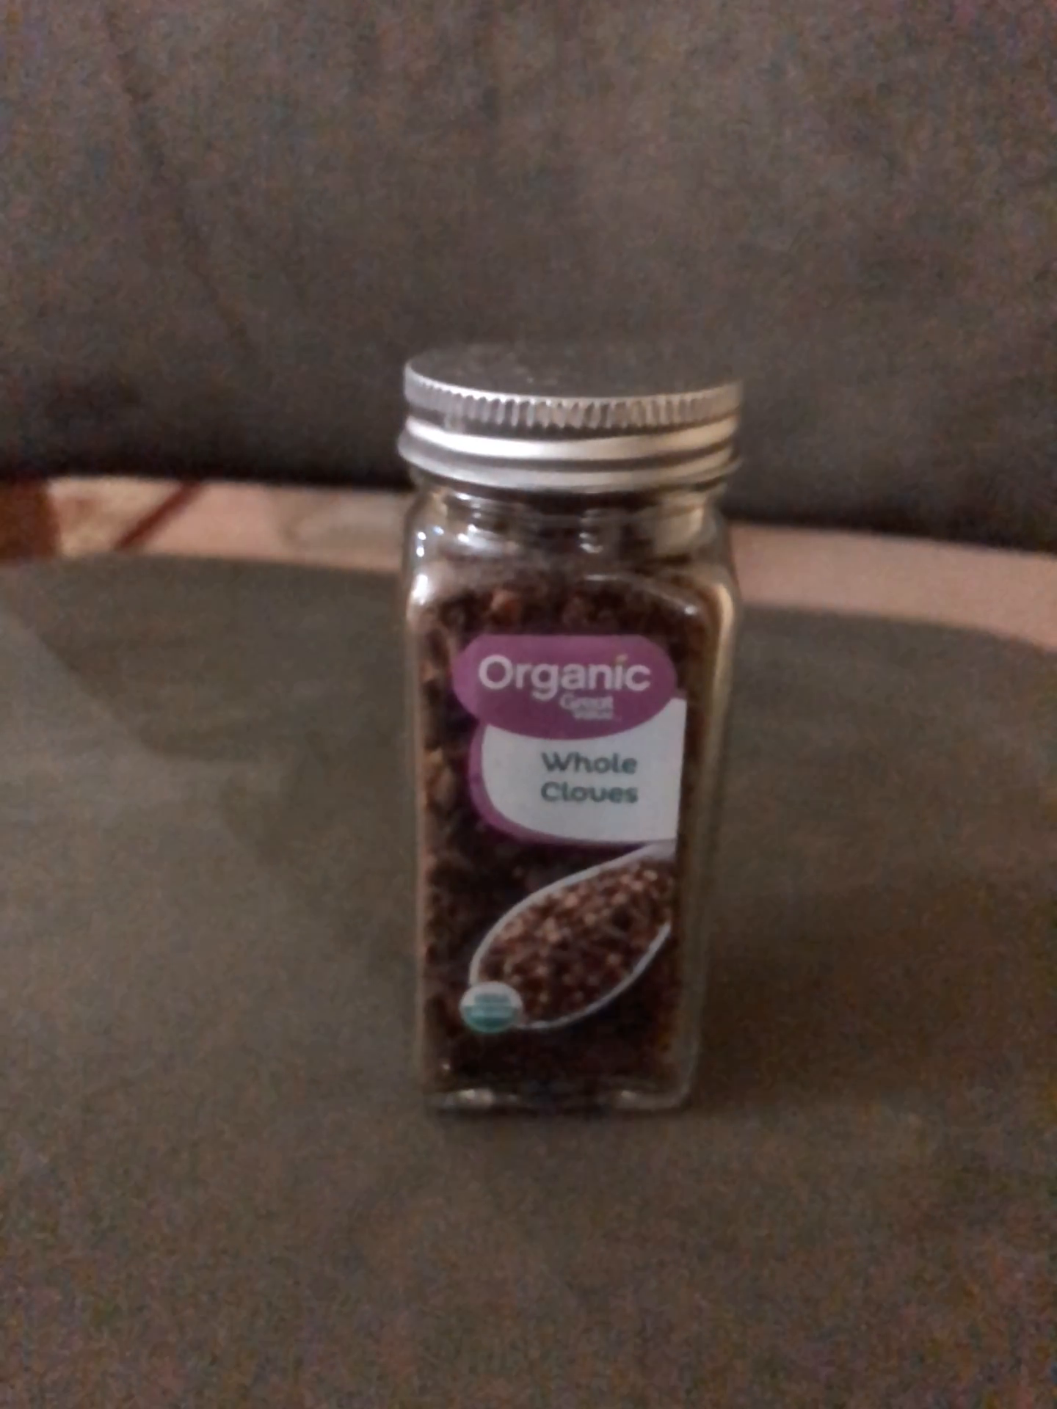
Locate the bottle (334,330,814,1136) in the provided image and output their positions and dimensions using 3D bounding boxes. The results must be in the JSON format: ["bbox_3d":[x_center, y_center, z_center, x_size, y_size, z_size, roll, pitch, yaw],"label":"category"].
[{"bbox_3d":[0.005,0.003,0.171,0.050,0.100,0.050,0,26,0],"label":"bottle"}]
